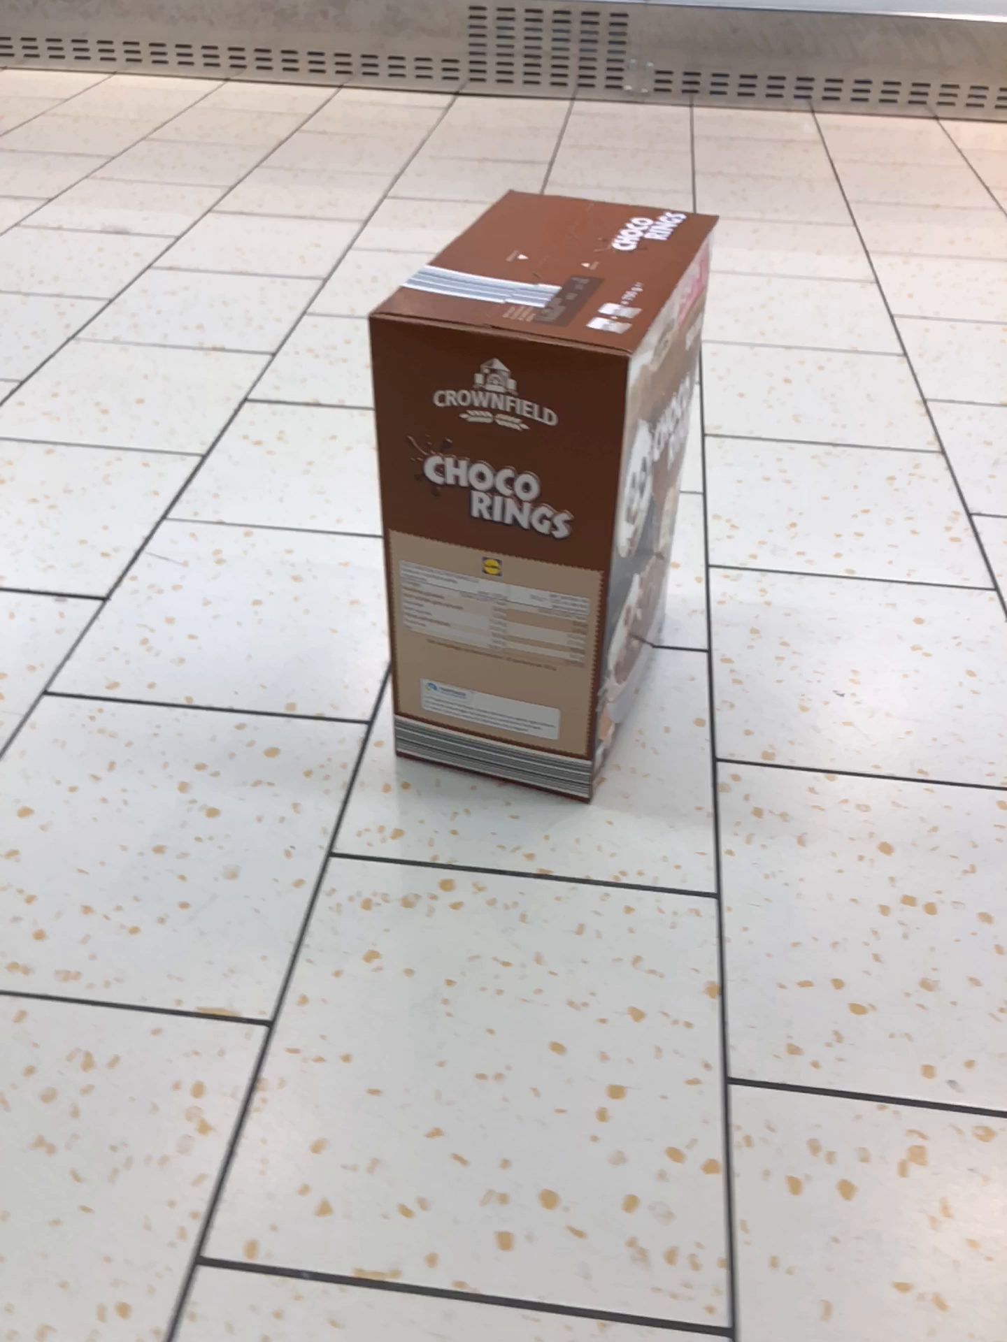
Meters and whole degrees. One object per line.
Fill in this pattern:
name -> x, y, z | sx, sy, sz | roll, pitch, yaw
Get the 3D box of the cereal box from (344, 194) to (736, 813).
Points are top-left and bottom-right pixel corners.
cereal box -> 0.025, -0.095, 0.604 | 0.130, 0.248, 0.201 | 13, 40, 15
